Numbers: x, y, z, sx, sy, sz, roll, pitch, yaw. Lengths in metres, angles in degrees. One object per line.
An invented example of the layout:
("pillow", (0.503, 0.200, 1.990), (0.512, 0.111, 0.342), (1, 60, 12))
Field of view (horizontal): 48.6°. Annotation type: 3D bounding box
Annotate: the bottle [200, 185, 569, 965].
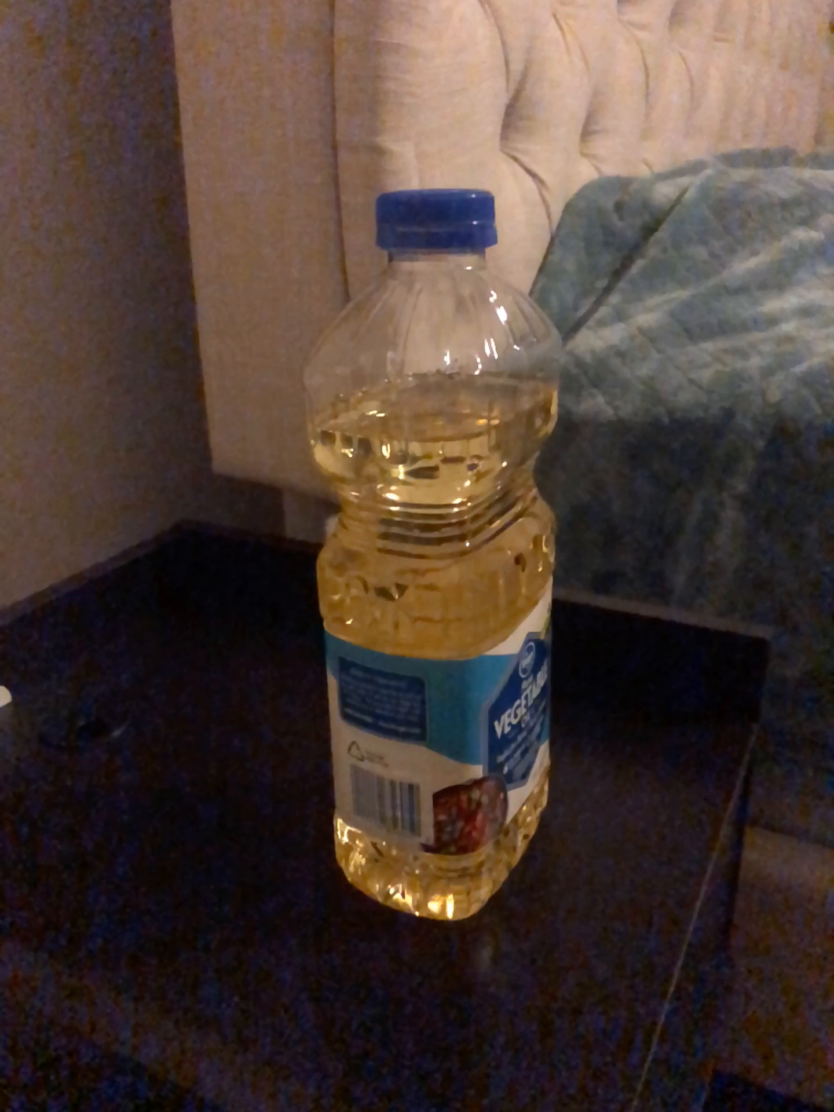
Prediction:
("bottle", (-0.002, 0.004, 0.366), (0.083, 0.276, 0.110), (9, 25, 25))
